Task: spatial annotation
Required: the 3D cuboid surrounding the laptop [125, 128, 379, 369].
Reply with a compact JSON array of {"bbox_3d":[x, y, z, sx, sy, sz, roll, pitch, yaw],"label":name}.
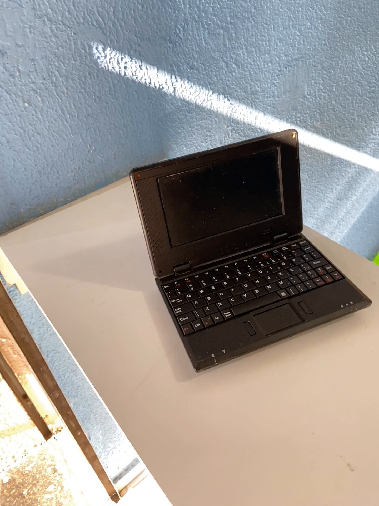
[{"bbox_3d":[0.068,-0.019,0.437,0.216,0.137,0.180,-17,43,-13],"label":"laptop"}]
